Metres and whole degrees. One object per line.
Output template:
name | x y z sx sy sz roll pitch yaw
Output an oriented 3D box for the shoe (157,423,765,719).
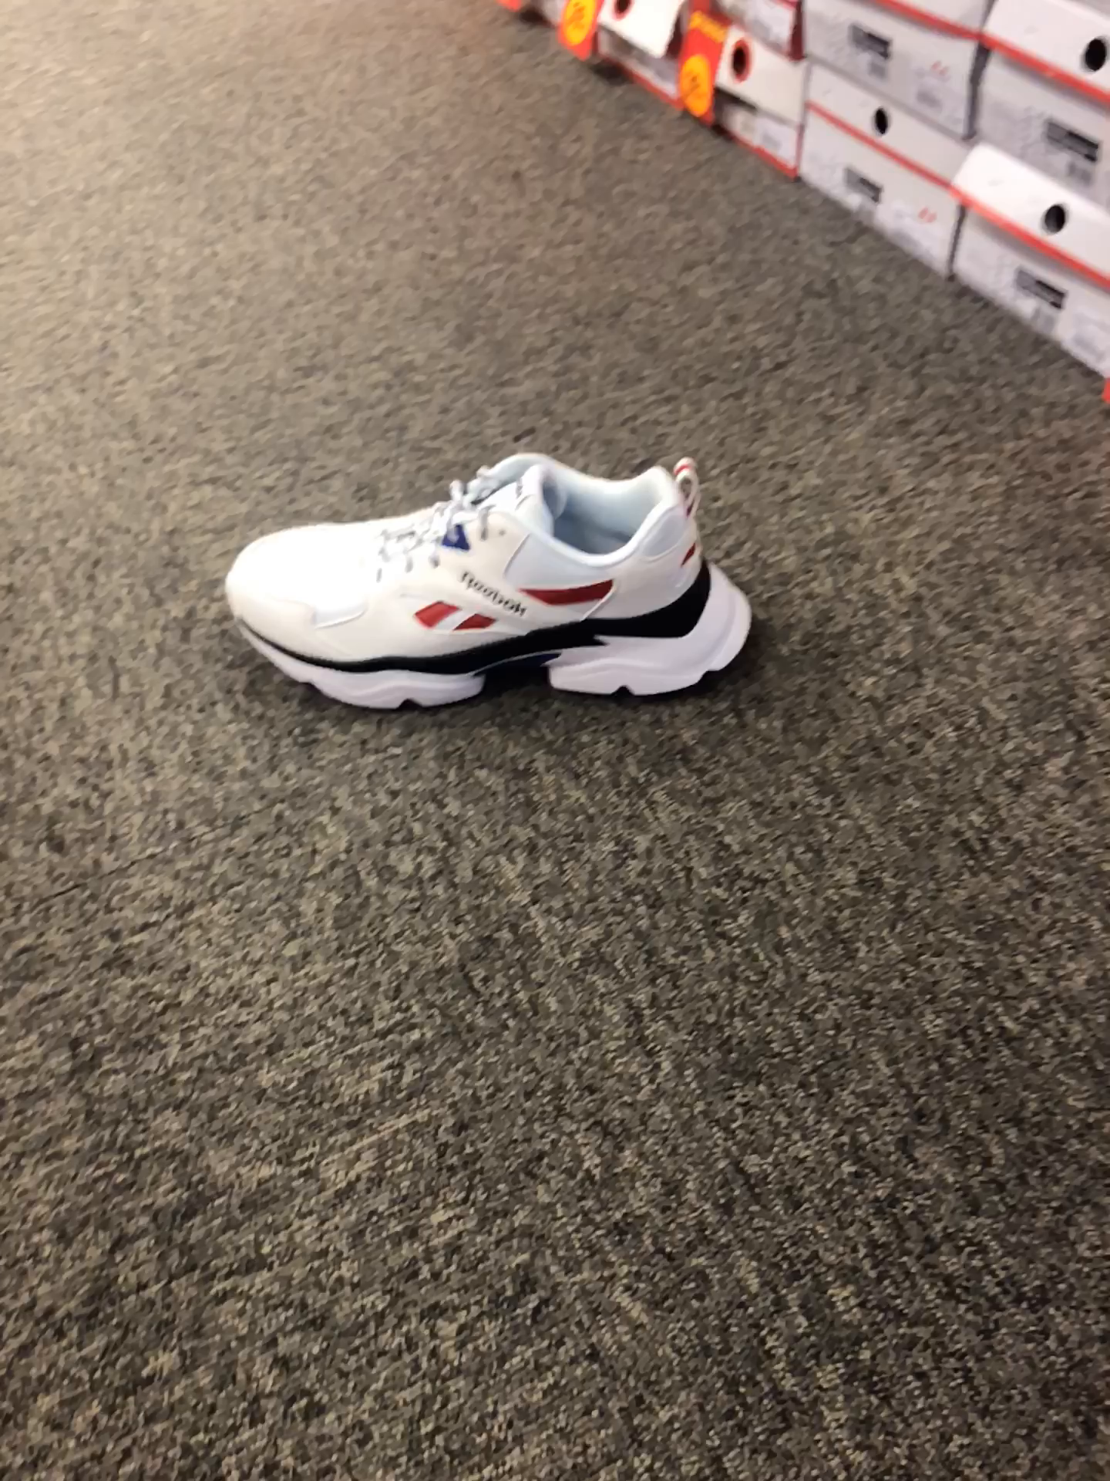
shoe | -0.040 -0.093 0.672 0.300 0.109 0.114 1 49 7
